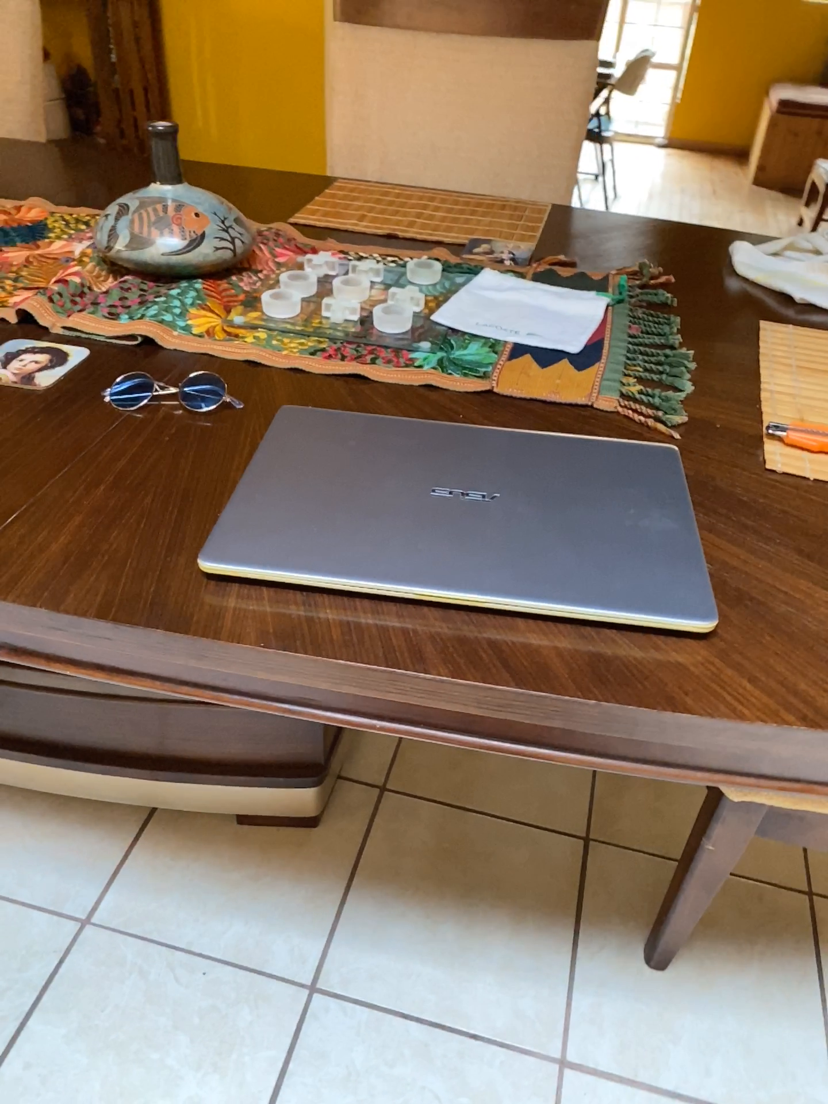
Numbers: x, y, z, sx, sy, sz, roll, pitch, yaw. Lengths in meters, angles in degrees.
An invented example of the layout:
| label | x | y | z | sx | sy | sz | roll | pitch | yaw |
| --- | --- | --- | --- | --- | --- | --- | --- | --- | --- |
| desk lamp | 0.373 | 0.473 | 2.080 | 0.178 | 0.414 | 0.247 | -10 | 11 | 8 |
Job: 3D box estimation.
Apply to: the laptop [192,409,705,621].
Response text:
| label | x | y | z | sx | sy | sz | roll | pitch | yaw |
| --- | --- | --- | --- | --- | --- | --- | --- | --- | --- |
| laptop | 0.039 | -0.045 | 0.724 | 0.383 | 0.001 | 0.247 | 7 | 38 | 4 |
